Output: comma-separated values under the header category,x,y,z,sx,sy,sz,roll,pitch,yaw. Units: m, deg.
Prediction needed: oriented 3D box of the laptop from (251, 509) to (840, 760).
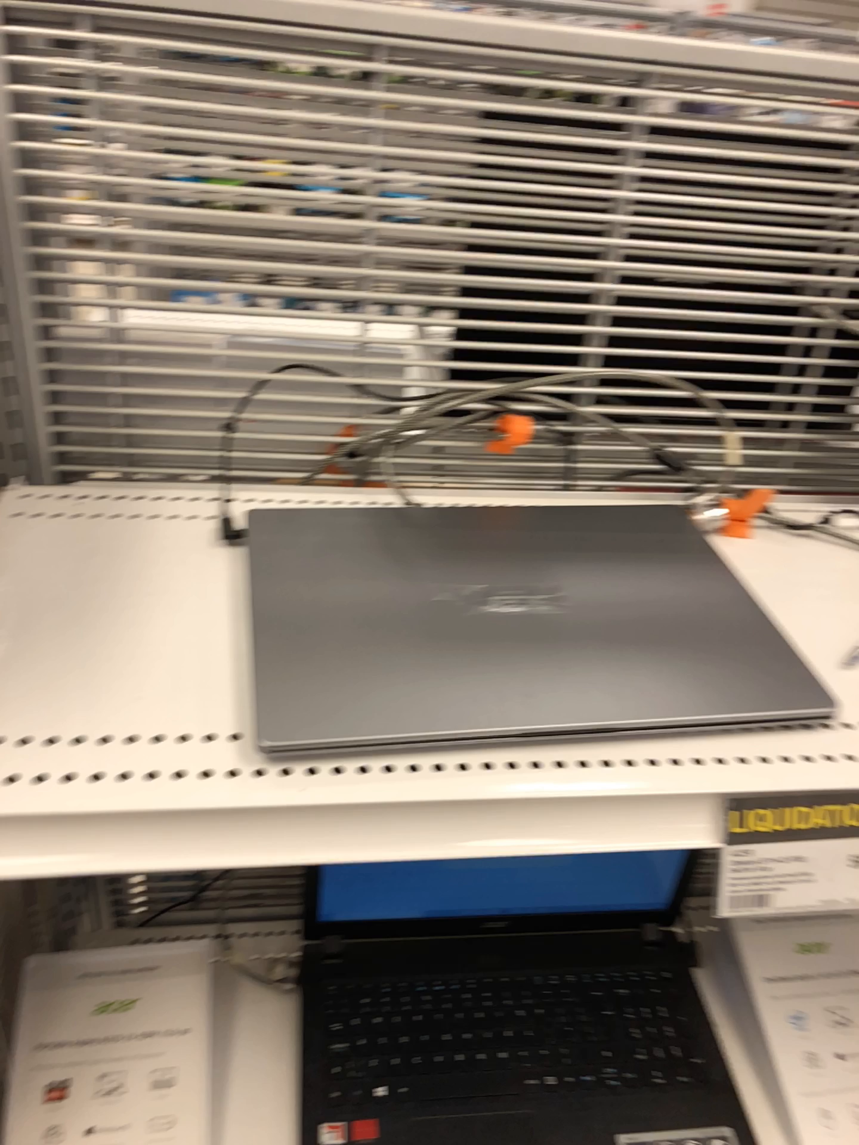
category,x,y,z,sx,sy,sz,roll,pitch,yaw
laptop,0.053,0.023,0.582,0.316,0.006,0.220,-1,35,-11
